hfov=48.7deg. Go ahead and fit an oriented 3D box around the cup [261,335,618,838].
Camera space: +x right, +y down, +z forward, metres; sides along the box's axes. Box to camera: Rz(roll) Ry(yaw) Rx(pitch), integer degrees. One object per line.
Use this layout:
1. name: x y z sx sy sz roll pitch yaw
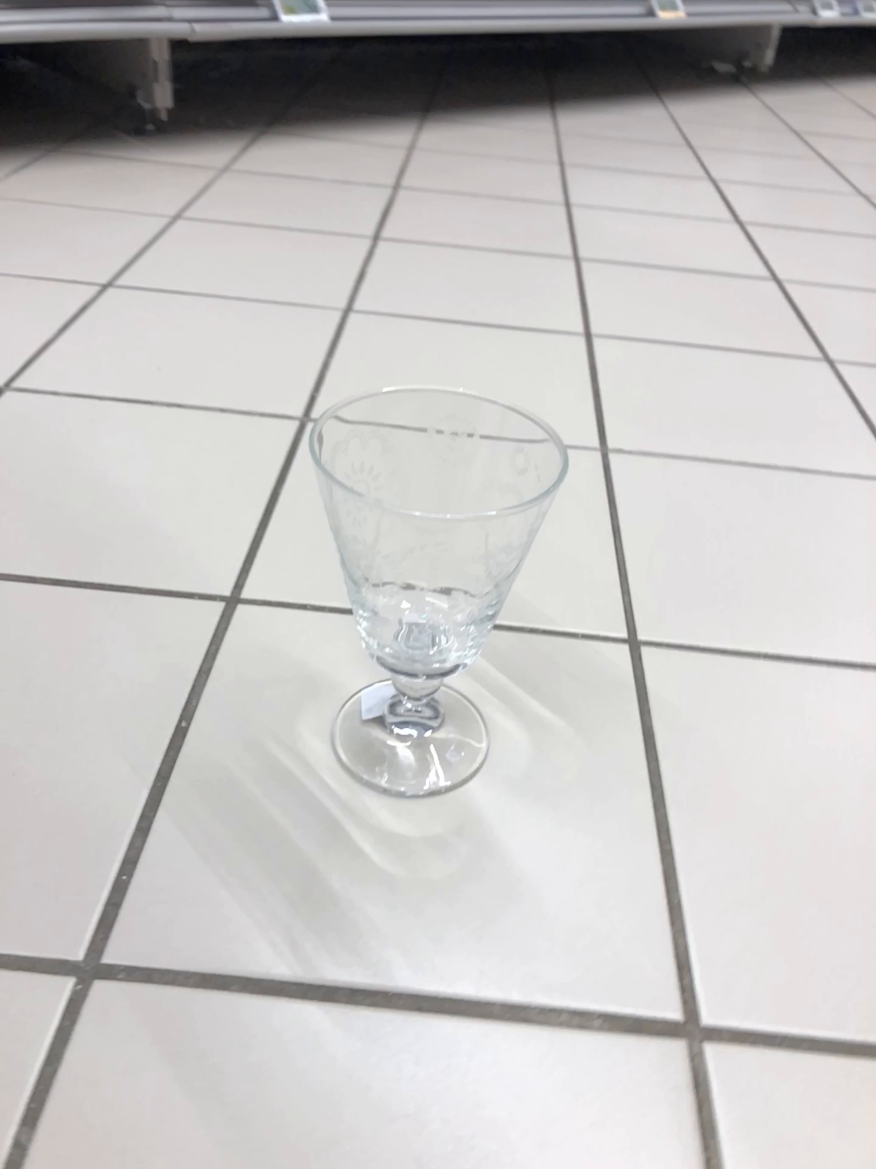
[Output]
1. cup: 0.001 -0.001 0.357 0.094 0.138 0.096 4 36 -3
